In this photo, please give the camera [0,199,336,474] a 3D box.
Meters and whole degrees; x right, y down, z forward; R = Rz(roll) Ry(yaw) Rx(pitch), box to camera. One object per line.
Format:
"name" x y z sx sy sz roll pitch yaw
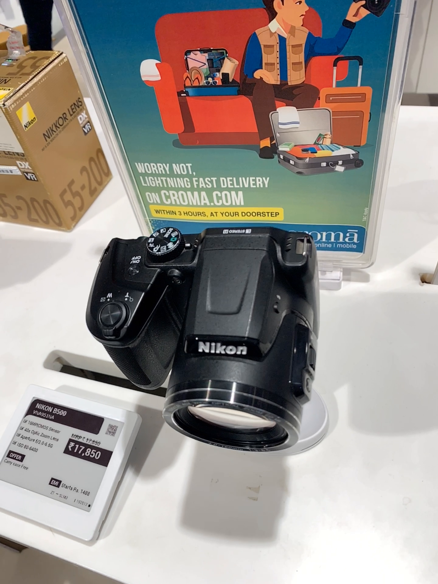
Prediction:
"camera" -0.010 0.018 0.210 0.120 0.080 0.090 2 51 12
